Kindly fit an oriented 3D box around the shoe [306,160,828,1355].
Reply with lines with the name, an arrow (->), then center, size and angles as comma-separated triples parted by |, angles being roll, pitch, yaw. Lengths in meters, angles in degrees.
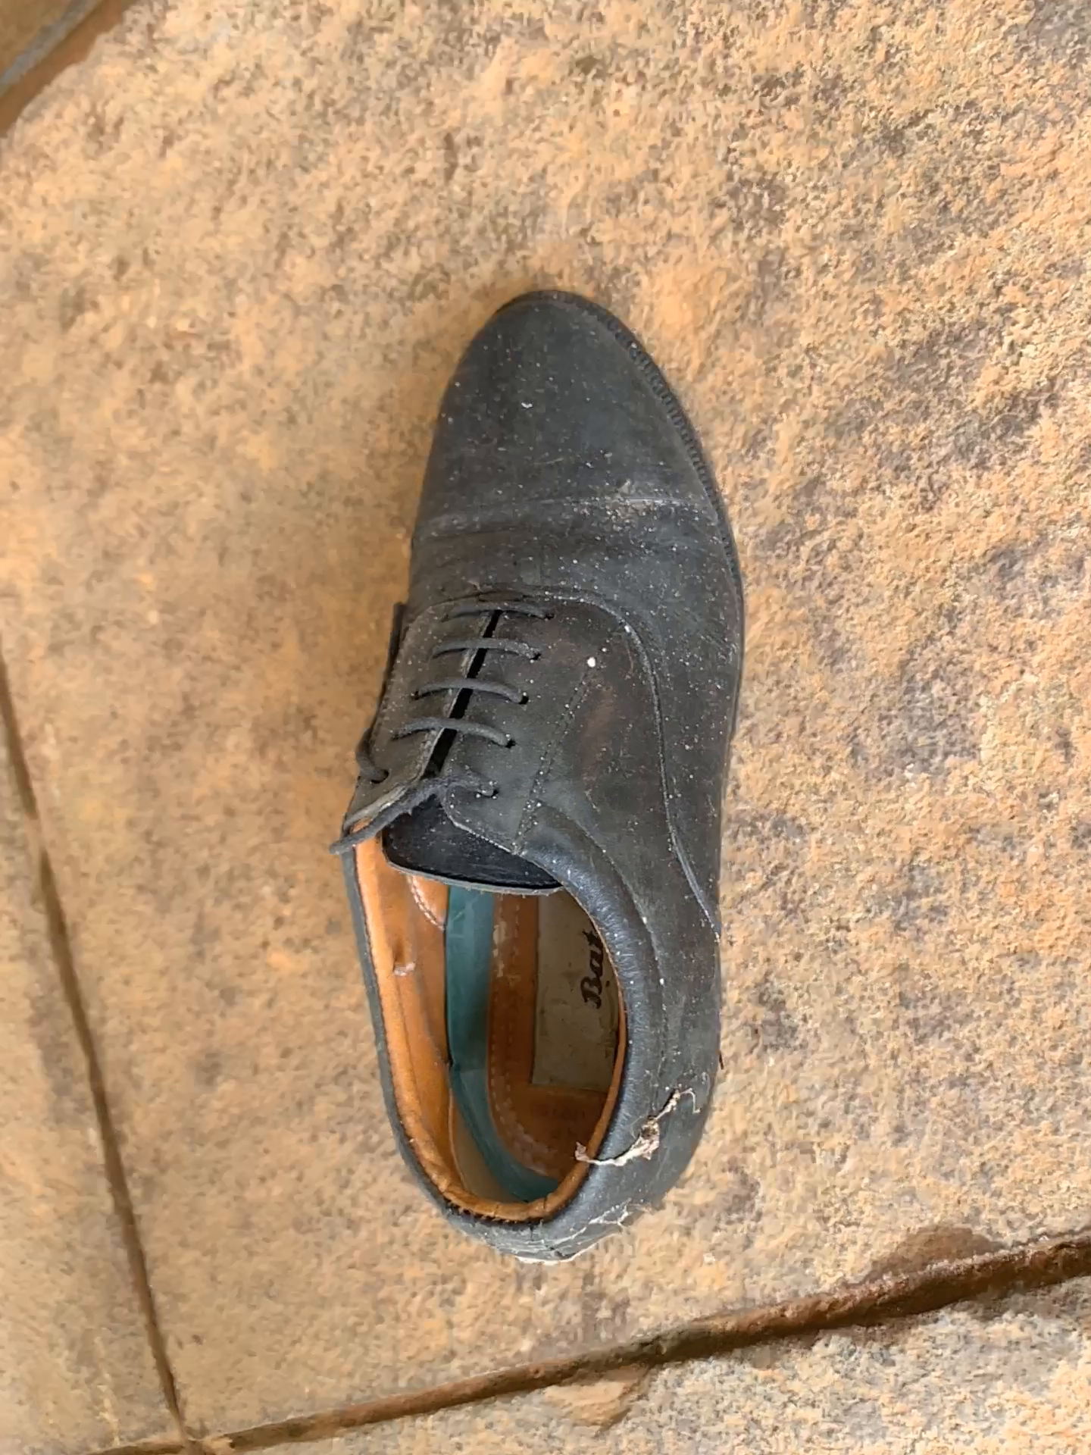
shoe -> 0.006, 0.007, 0.316 | 0.100, 0.090, 0.270 | -7, 82, 26
